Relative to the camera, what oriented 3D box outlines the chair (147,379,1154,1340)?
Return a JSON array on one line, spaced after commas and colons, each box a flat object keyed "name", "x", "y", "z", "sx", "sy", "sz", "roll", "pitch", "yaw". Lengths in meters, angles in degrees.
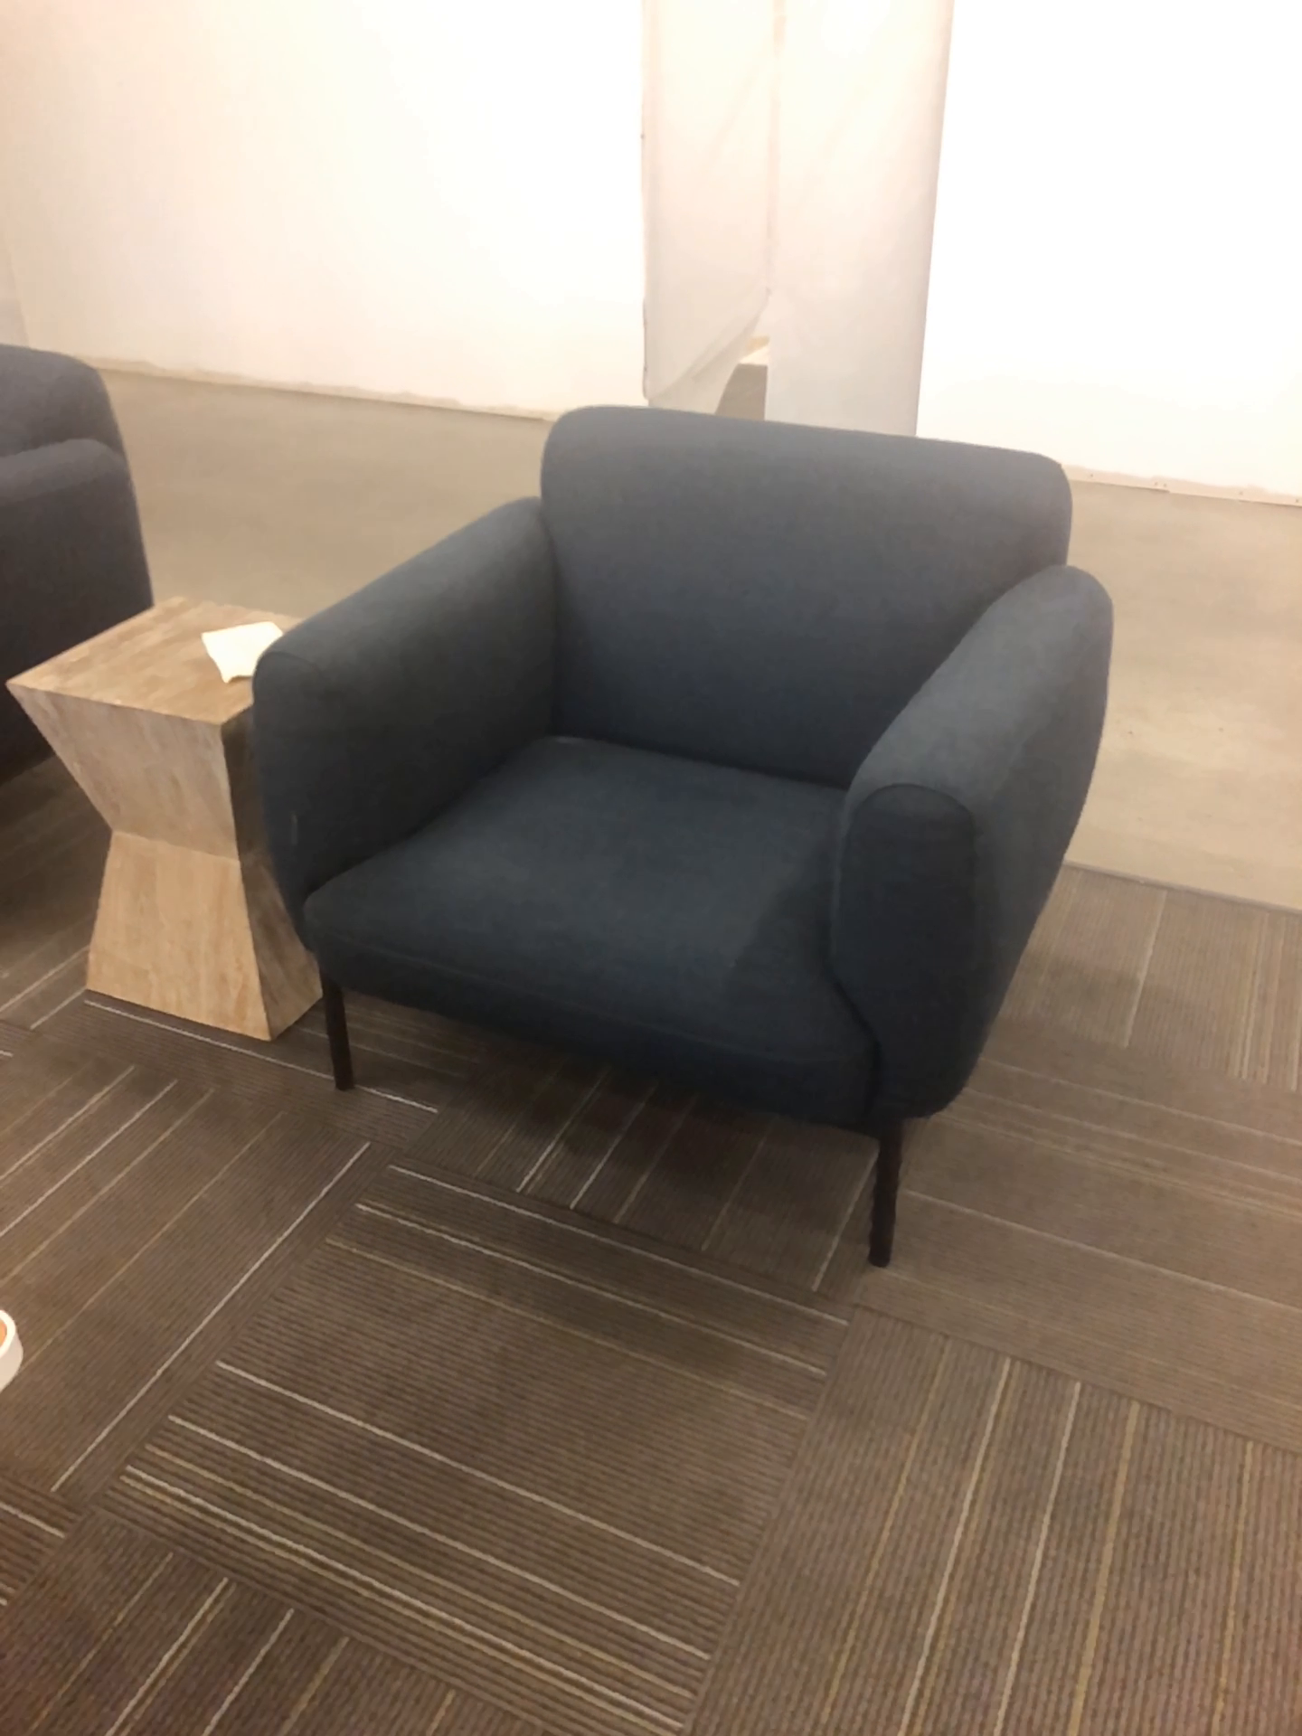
[{"name": "chair", "x": 0.063, "y": -0.112, "z": 1.866, "sx": 0.920, "sy": 0.783, "sz": 0.847, "roll": 12, "pitch": 32, "yaw": 20}]
